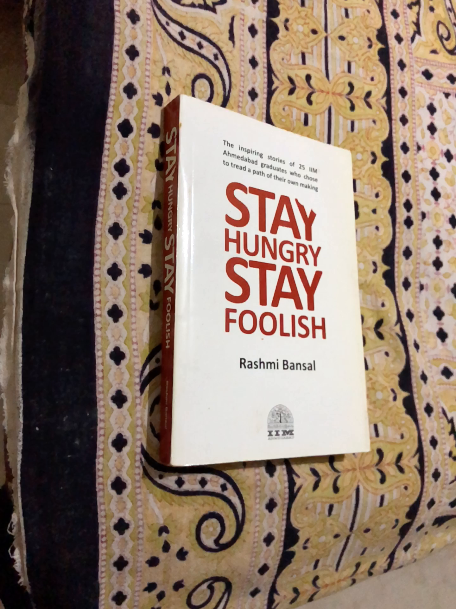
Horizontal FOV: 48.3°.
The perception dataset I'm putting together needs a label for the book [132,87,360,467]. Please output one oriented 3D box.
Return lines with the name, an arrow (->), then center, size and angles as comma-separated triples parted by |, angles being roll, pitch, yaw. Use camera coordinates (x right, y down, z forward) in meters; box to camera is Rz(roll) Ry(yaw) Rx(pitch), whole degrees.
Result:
book -> 0.017, -0.012, 0.328 | 0.140, 0.040, 0.210 | 6, 80, -30
